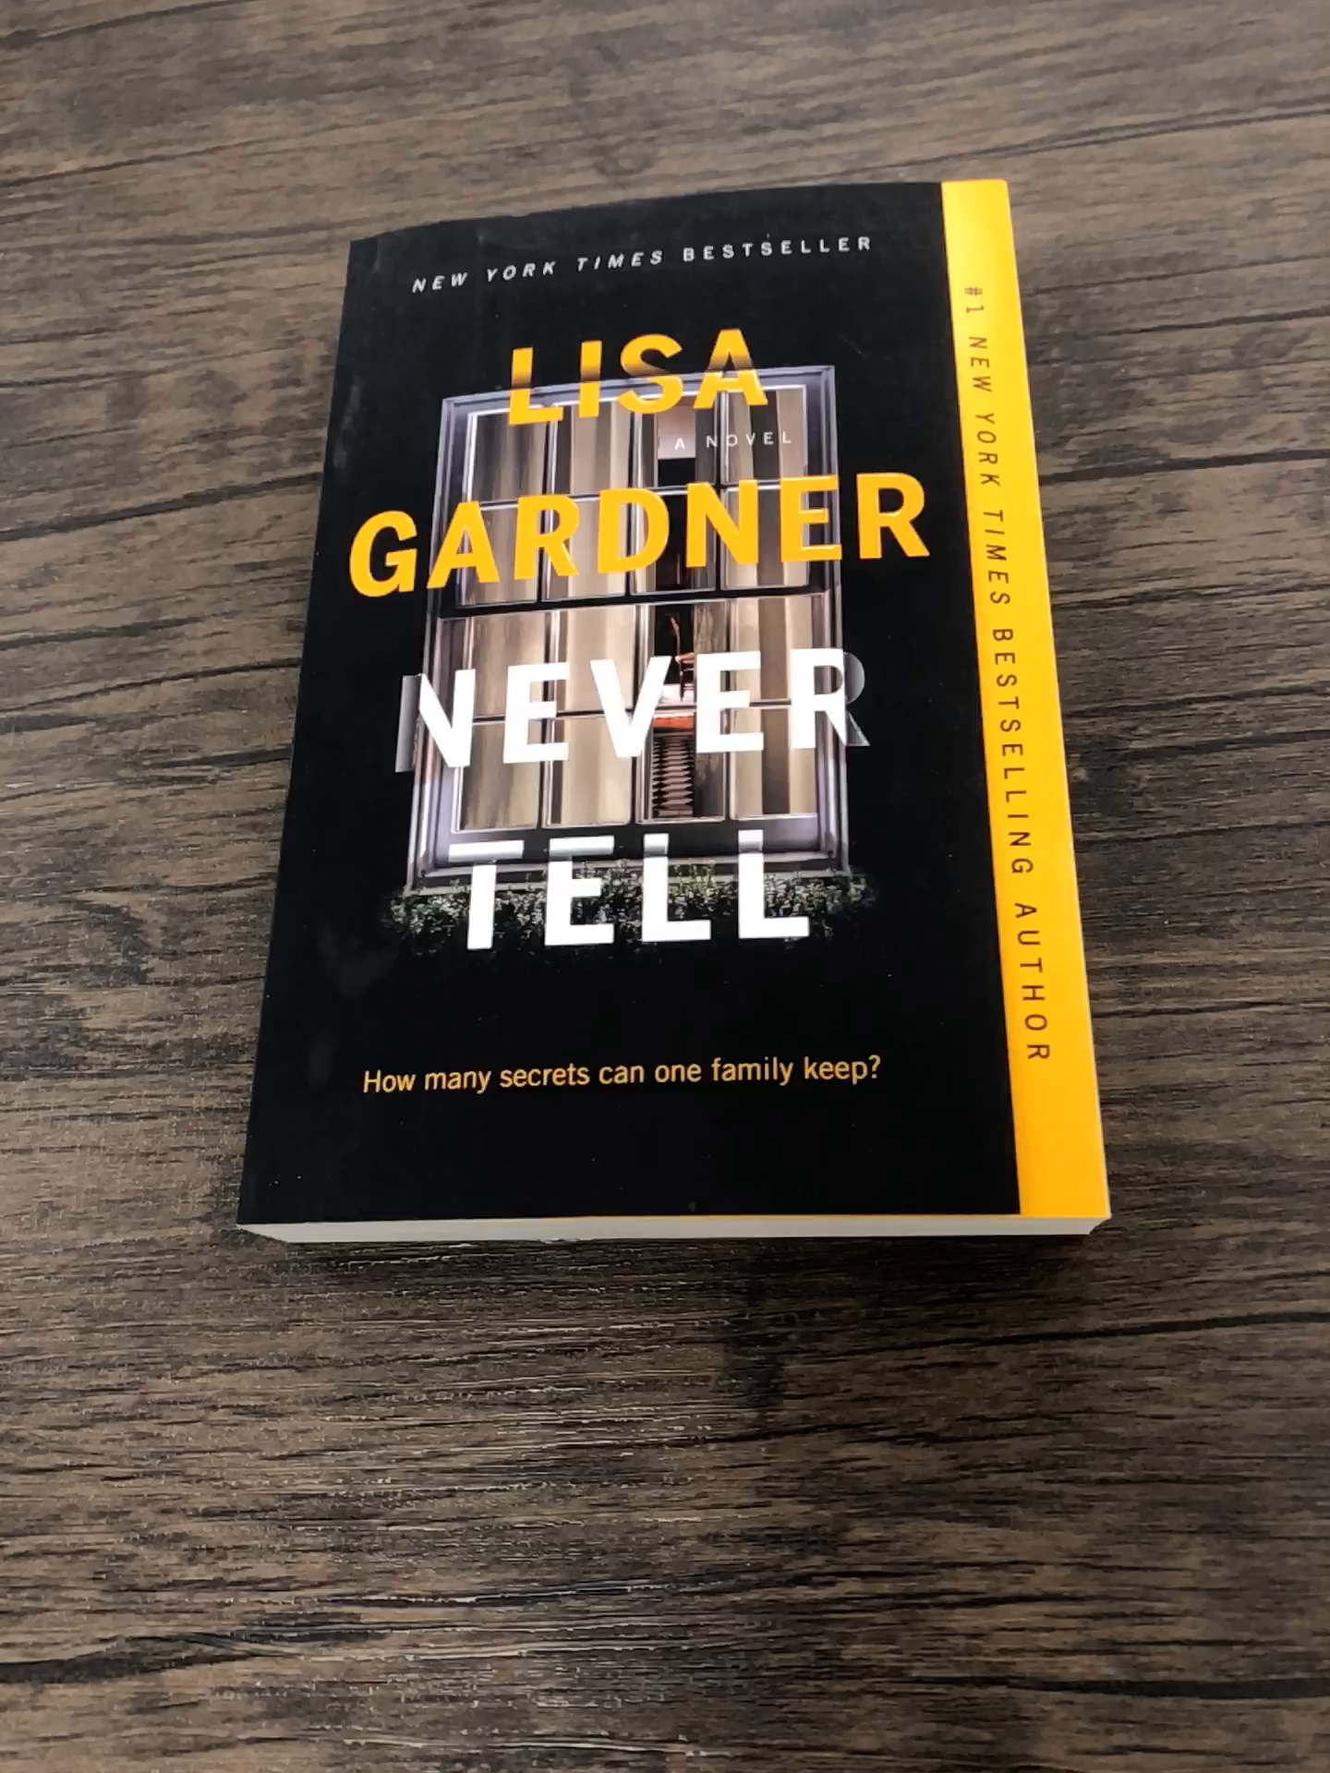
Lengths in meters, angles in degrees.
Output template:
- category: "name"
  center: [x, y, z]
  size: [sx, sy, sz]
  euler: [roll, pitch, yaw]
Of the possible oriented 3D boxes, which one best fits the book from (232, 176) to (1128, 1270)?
- category: "book"
  center: [0.003, -0.037, 0.278]
  size: [0.137, 0.032, 0.207]
  euler: [-2, 68, 7]
